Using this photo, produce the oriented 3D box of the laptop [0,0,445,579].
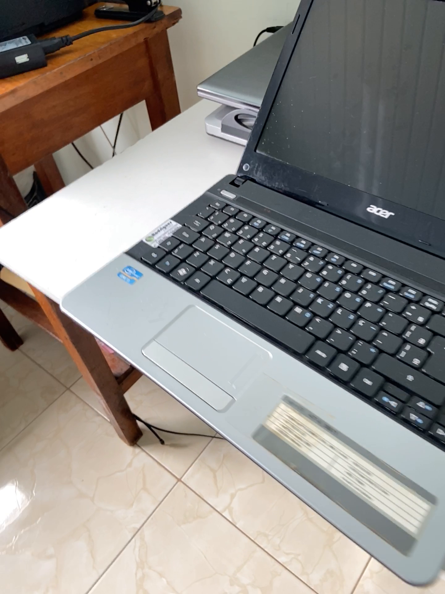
[{"bbox_3d":[0.100,-0.096,0.359,0.333,0.163,0.397,31,58,29],"label":"laptop"}]
